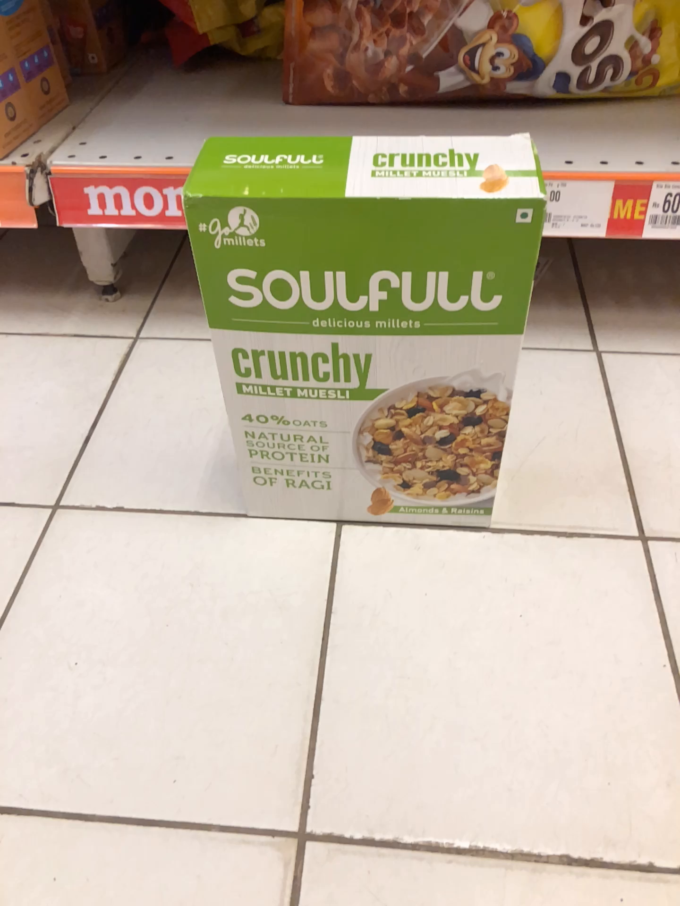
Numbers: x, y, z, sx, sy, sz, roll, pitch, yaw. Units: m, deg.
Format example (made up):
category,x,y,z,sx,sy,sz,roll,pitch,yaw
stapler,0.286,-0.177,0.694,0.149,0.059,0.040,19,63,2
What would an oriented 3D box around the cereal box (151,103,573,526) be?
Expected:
category,x,y,z,sx,sy,sz,roll,pitch,yaw
cereal box,0.014,-0.063,0.424,0.180,0.238,0.060,2,45,5
